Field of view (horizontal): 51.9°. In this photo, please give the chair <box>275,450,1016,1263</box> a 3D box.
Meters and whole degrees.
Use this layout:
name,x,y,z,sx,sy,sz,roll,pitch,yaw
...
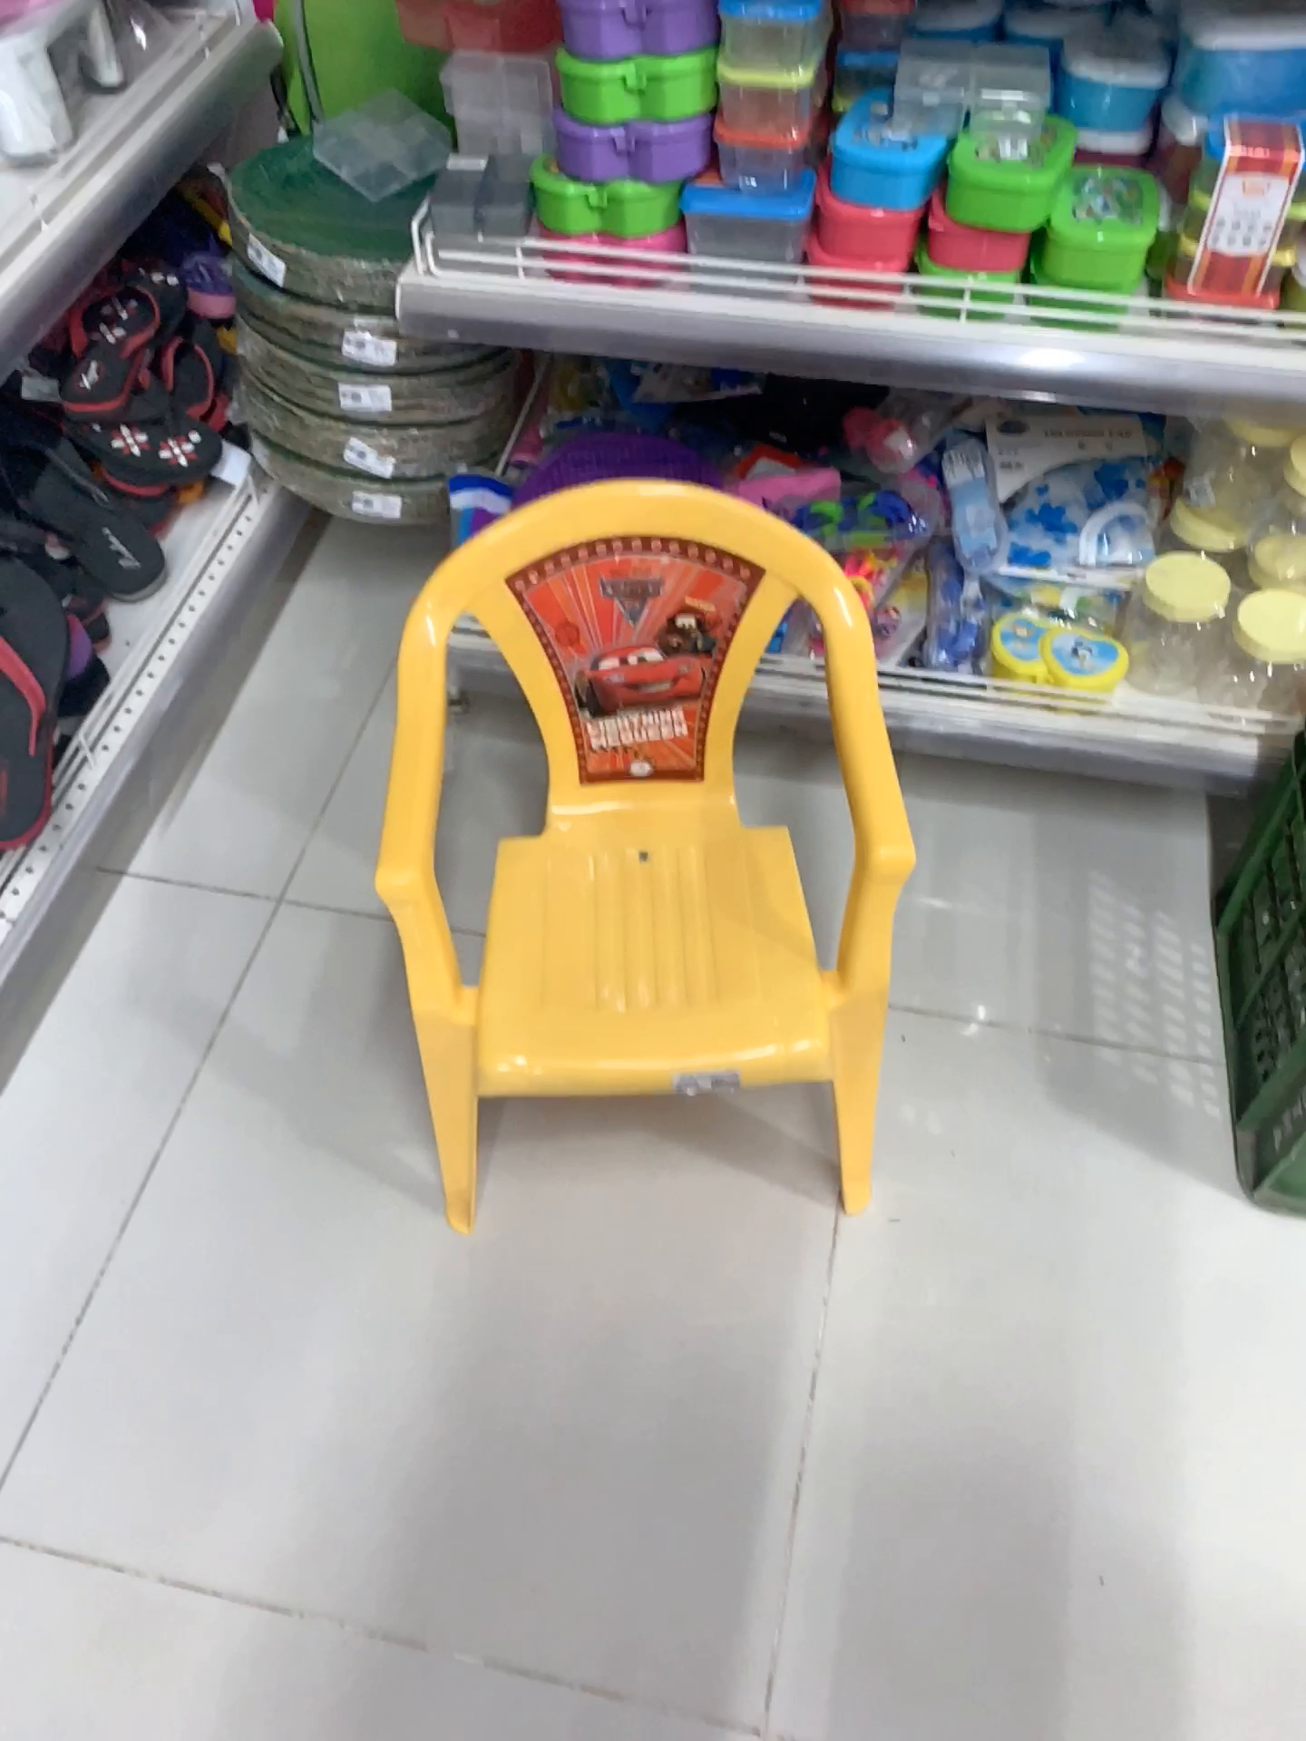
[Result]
name,x,y,z,sx,sy,sz,roll,pitch,yaw
chair,-0.004,0.015,1.017,0.390,0.498,0.371,-3,53,0
